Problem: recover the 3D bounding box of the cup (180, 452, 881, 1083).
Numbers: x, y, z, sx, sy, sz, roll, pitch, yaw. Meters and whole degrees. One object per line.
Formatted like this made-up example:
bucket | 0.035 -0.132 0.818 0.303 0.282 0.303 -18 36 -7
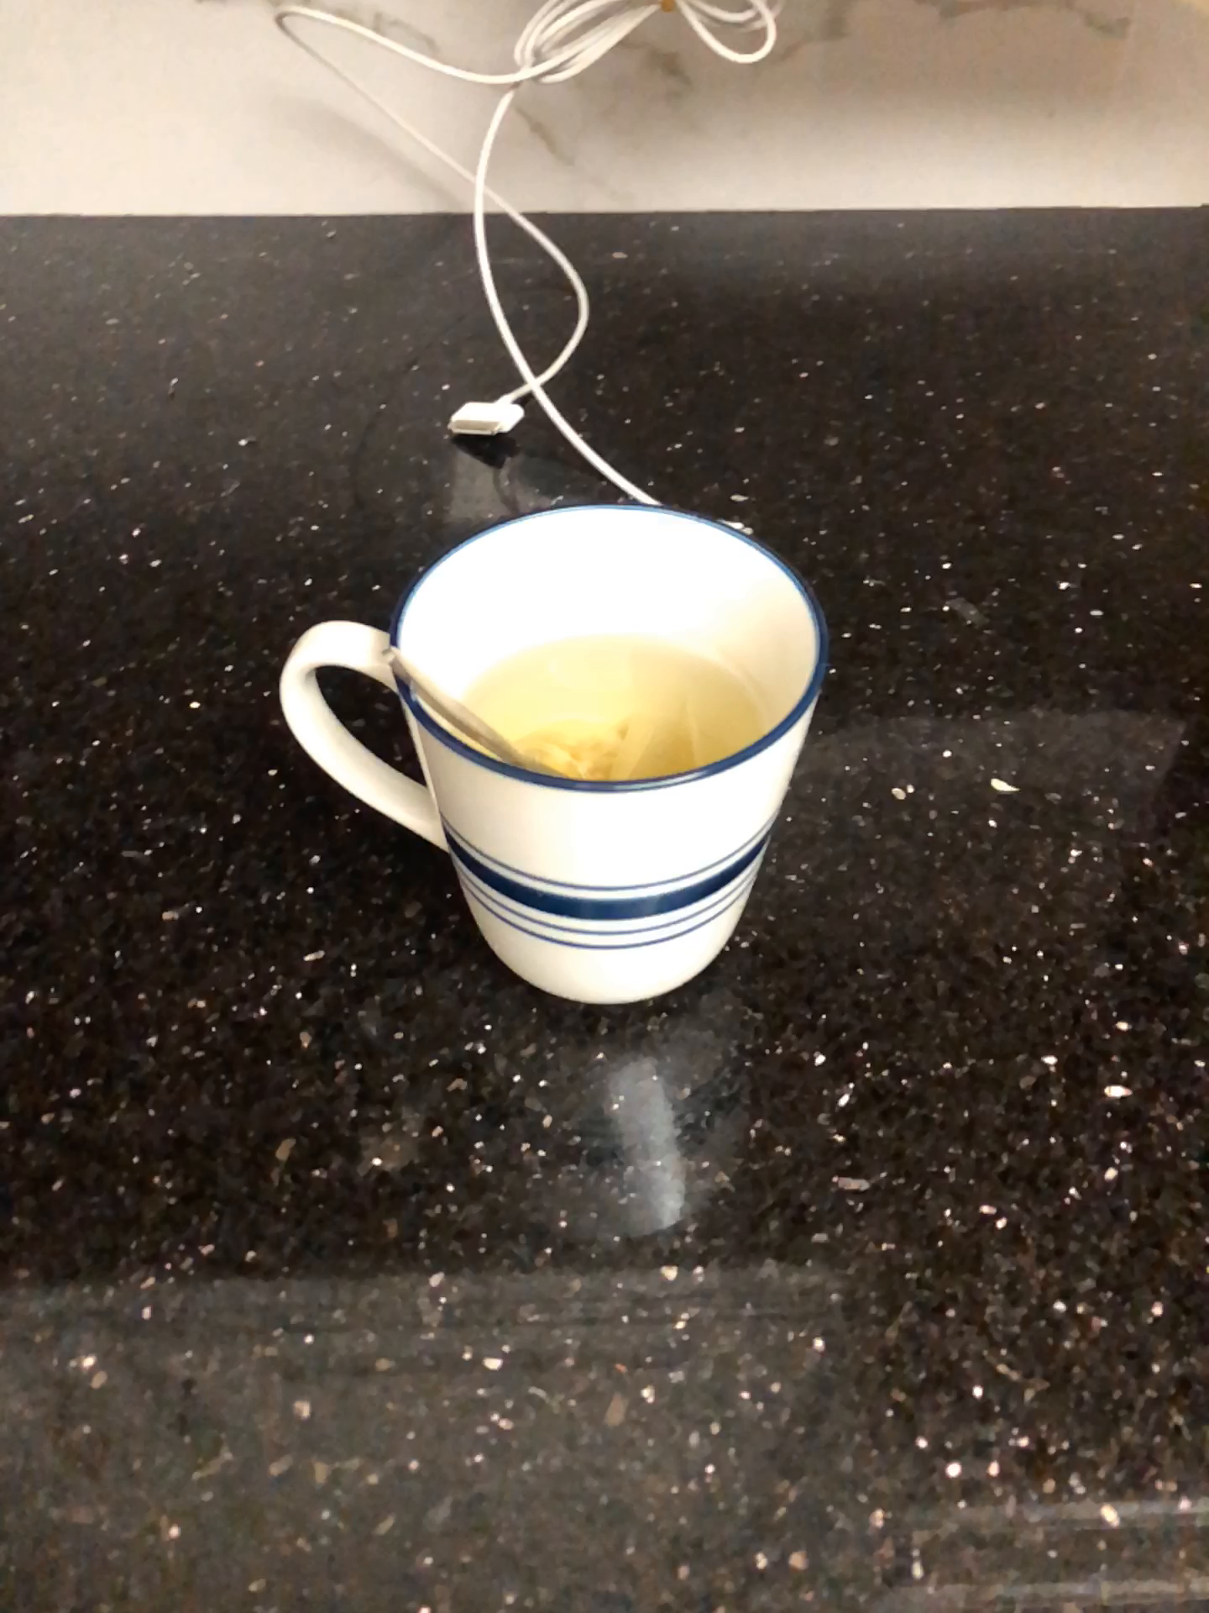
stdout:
cup | -0.010 -0.009 0.296 0.120 0.090 0.080 11 49 9
